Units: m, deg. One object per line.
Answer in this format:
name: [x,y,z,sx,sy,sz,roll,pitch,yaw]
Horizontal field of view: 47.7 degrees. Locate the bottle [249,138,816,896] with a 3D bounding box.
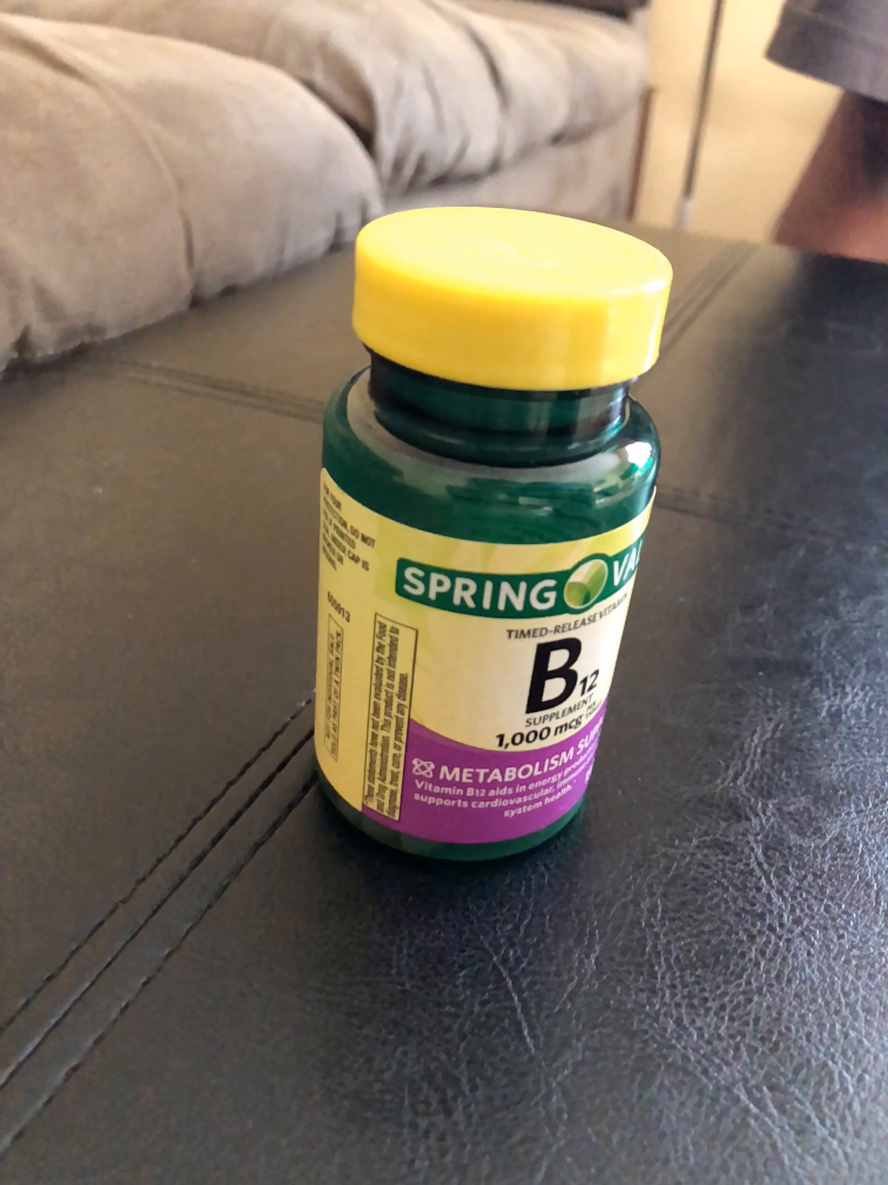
bottle: [0.006,-0.013,0.147,0.050,0.090,0.050,3,32,-2]
